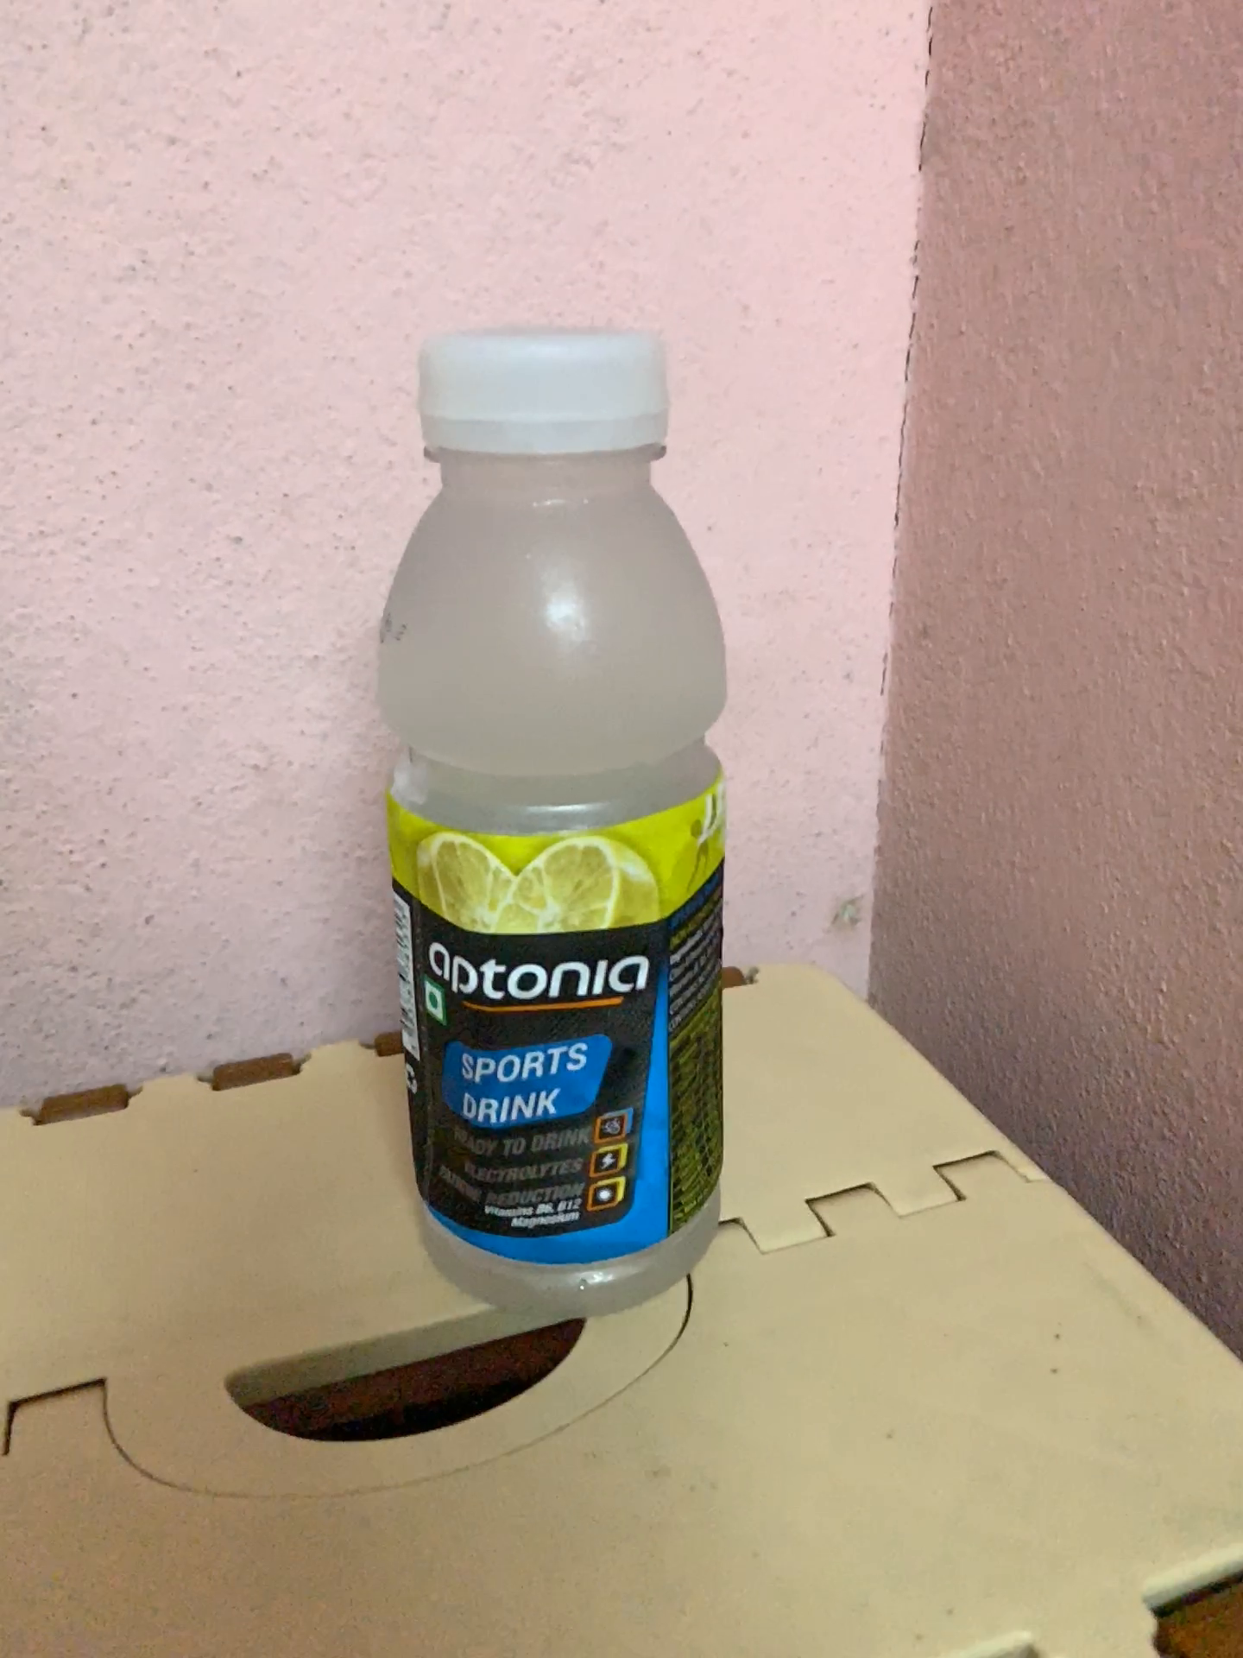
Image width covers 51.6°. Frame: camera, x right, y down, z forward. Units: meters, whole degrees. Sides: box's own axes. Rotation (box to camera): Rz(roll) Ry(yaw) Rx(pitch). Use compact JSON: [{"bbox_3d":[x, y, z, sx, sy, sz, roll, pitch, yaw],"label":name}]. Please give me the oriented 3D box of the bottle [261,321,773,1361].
[{"bbox_3d":[-0.011,0.003,0.239,0.070,0.179,0.060,2,22,8],"label":"bottle"}]
